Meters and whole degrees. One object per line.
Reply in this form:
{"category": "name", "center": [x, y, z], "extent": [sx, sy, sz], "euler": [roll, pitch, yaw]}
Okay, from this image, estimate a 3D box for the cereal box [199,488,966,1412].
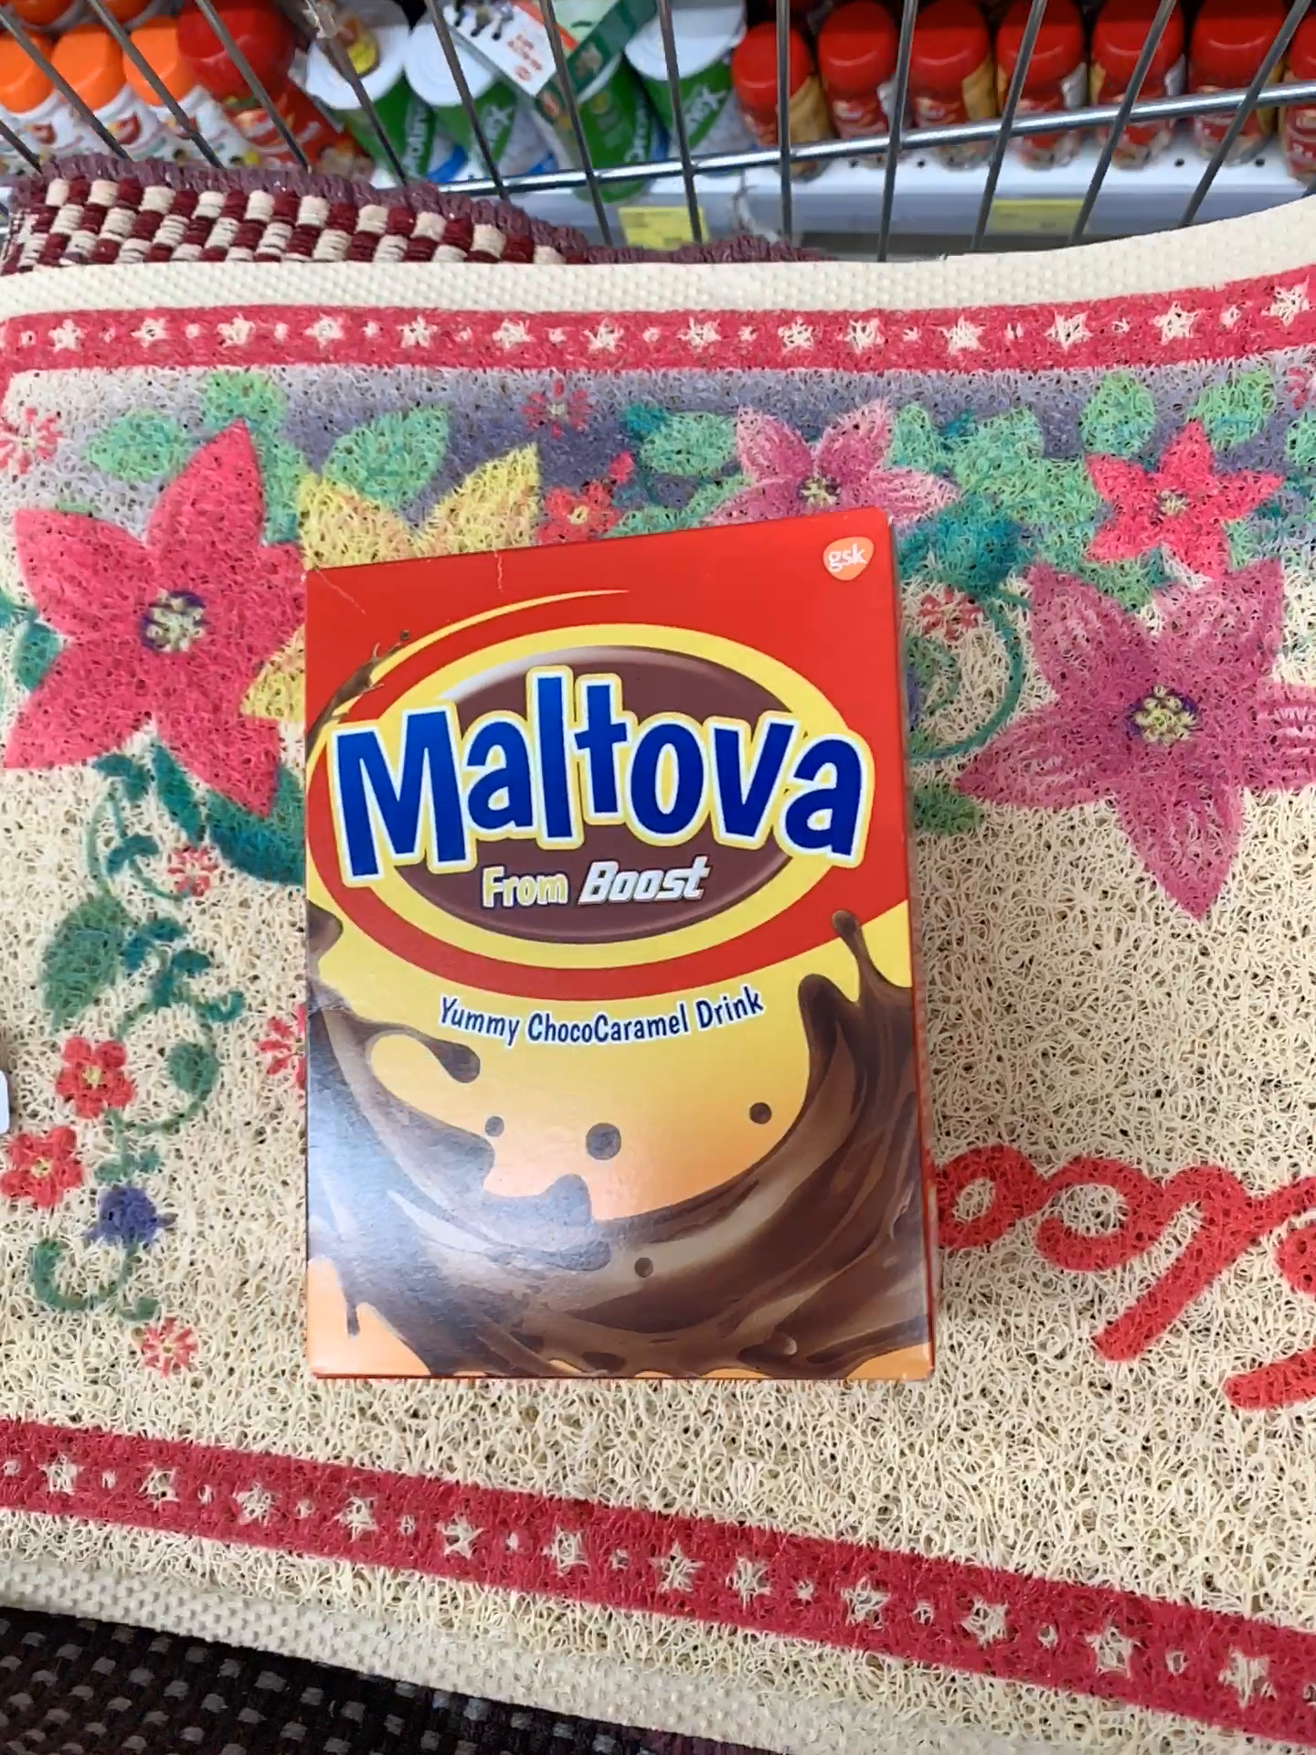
{"category": "cereal box", "center": [-0.017, 0.018, 0.290], "extent": [0.150, 0.050, 0.170], "euler": [-4, 83, 13]}
